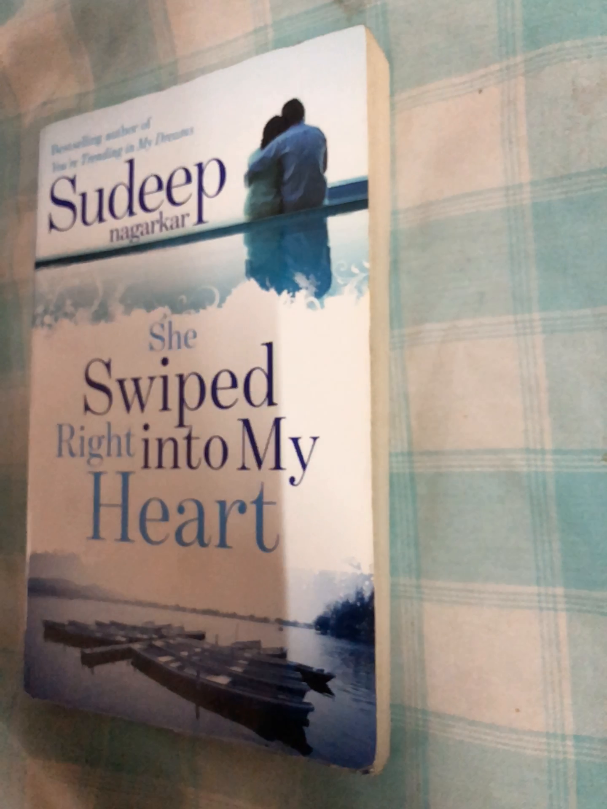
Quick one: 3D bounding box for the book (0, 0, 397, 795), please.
[{"bbox_3d":[-0.038,-0.009,0.215,0.130,0.030,0.210,-2,86,28],"label":"book"}]
